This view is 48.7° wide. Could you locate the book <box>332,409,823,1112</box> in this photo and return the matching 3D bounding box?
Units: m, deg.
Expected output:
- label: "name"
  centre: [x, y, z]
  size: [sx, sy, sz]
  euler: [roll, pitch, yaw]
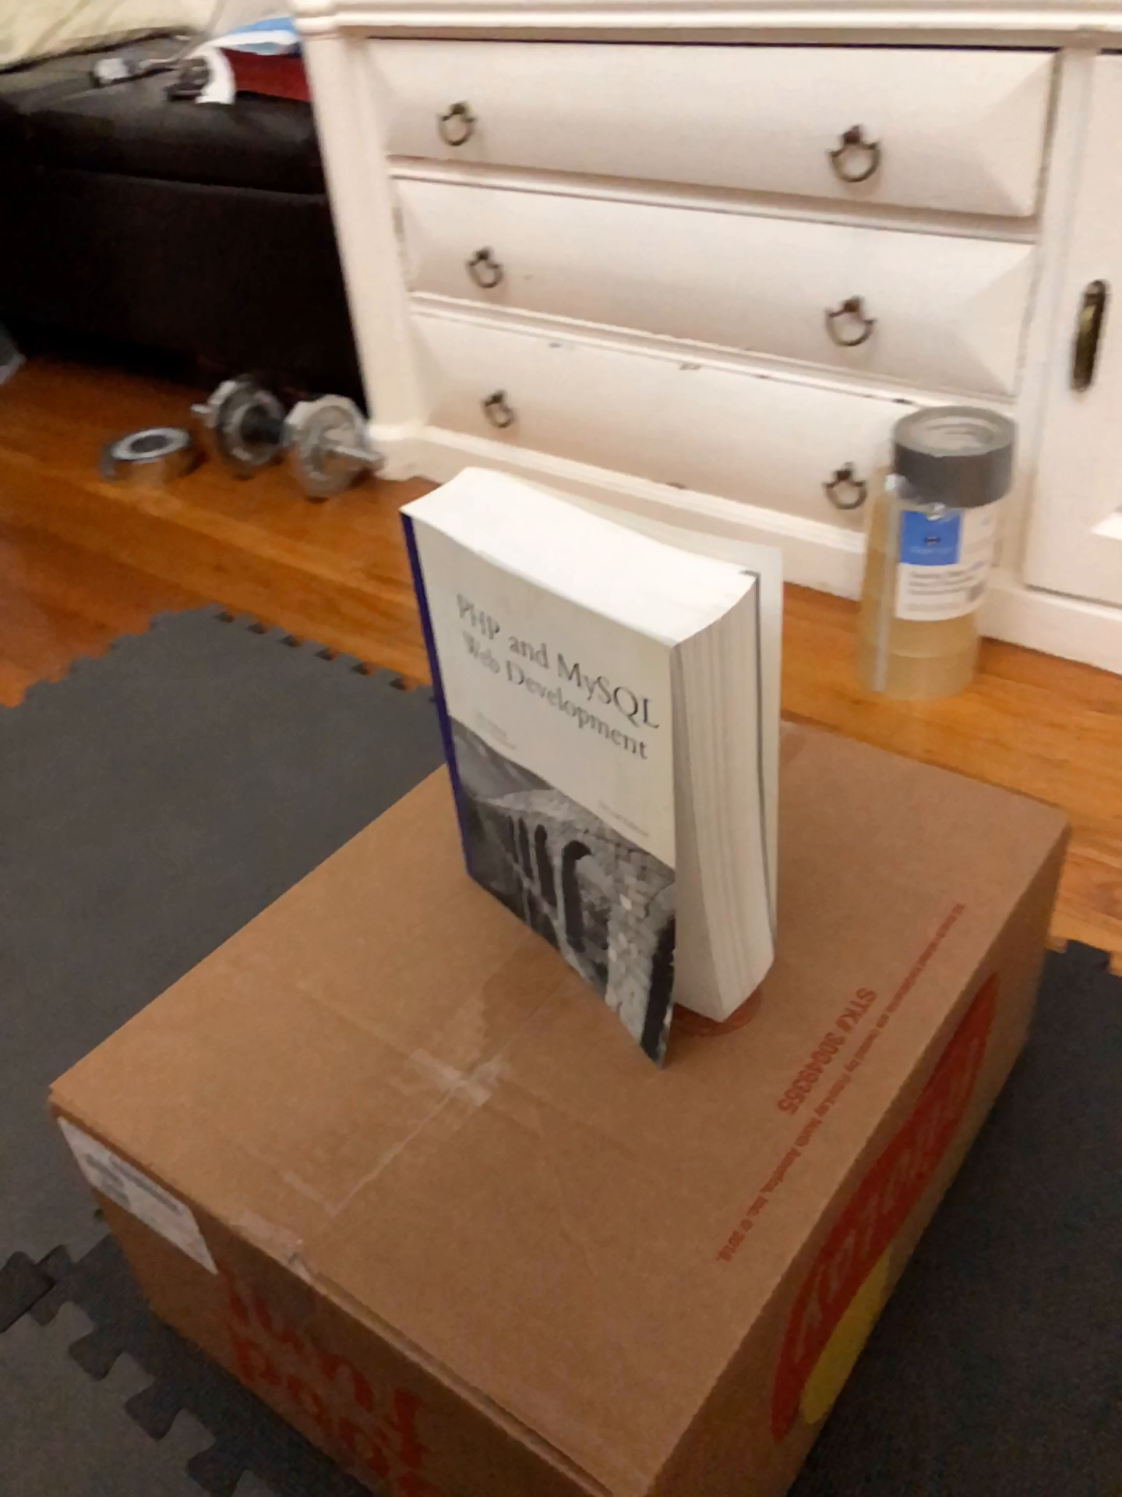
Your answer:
- label: "book"
  centre: [0.013, 0.003, 0.577]
  size: [0.090, 0.258, 0.201]
  euler: [-31, 43, -28]
